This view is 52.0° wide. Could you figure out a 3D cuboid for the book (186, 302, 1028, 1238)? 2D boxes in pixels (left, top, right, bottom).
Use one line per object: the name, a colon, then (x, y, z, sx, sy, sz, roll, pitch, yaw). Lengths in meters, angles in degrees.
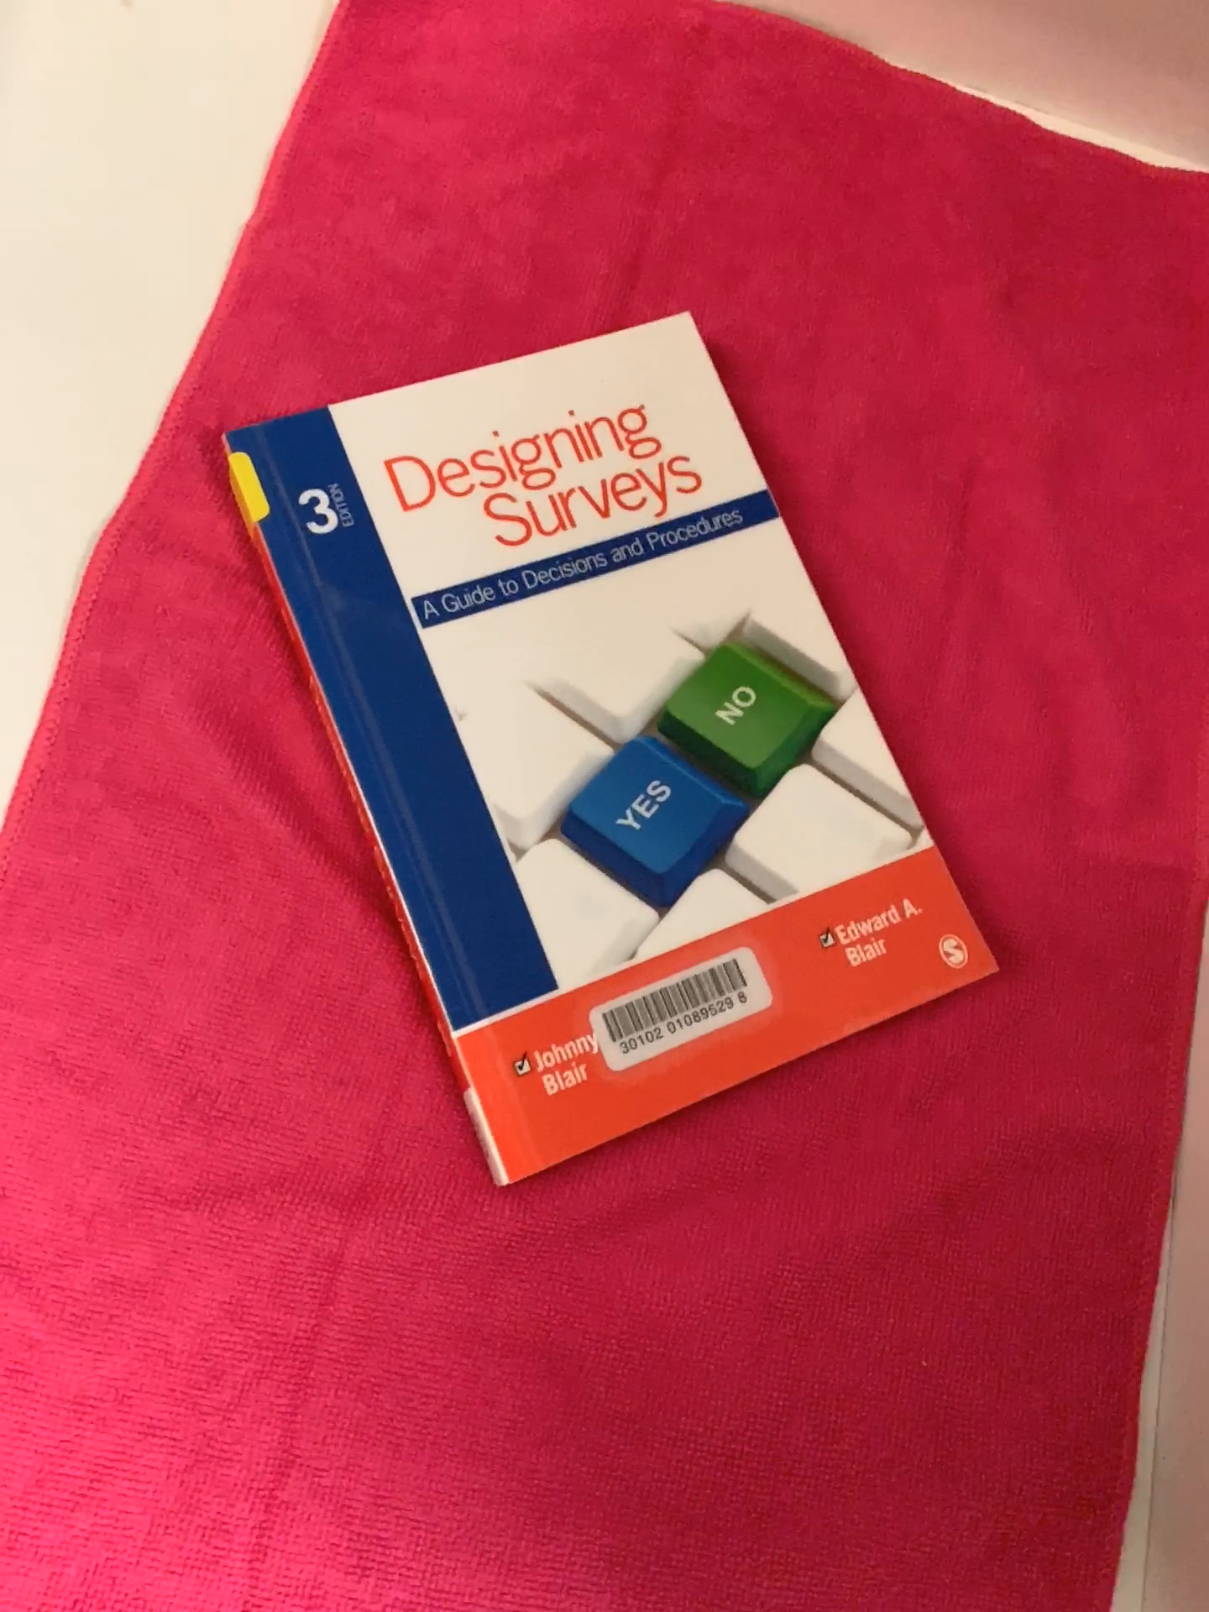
book: (0.000, -0.022, 0.359, 0.160, 0.026, 0.230, -21, 81, -16)
